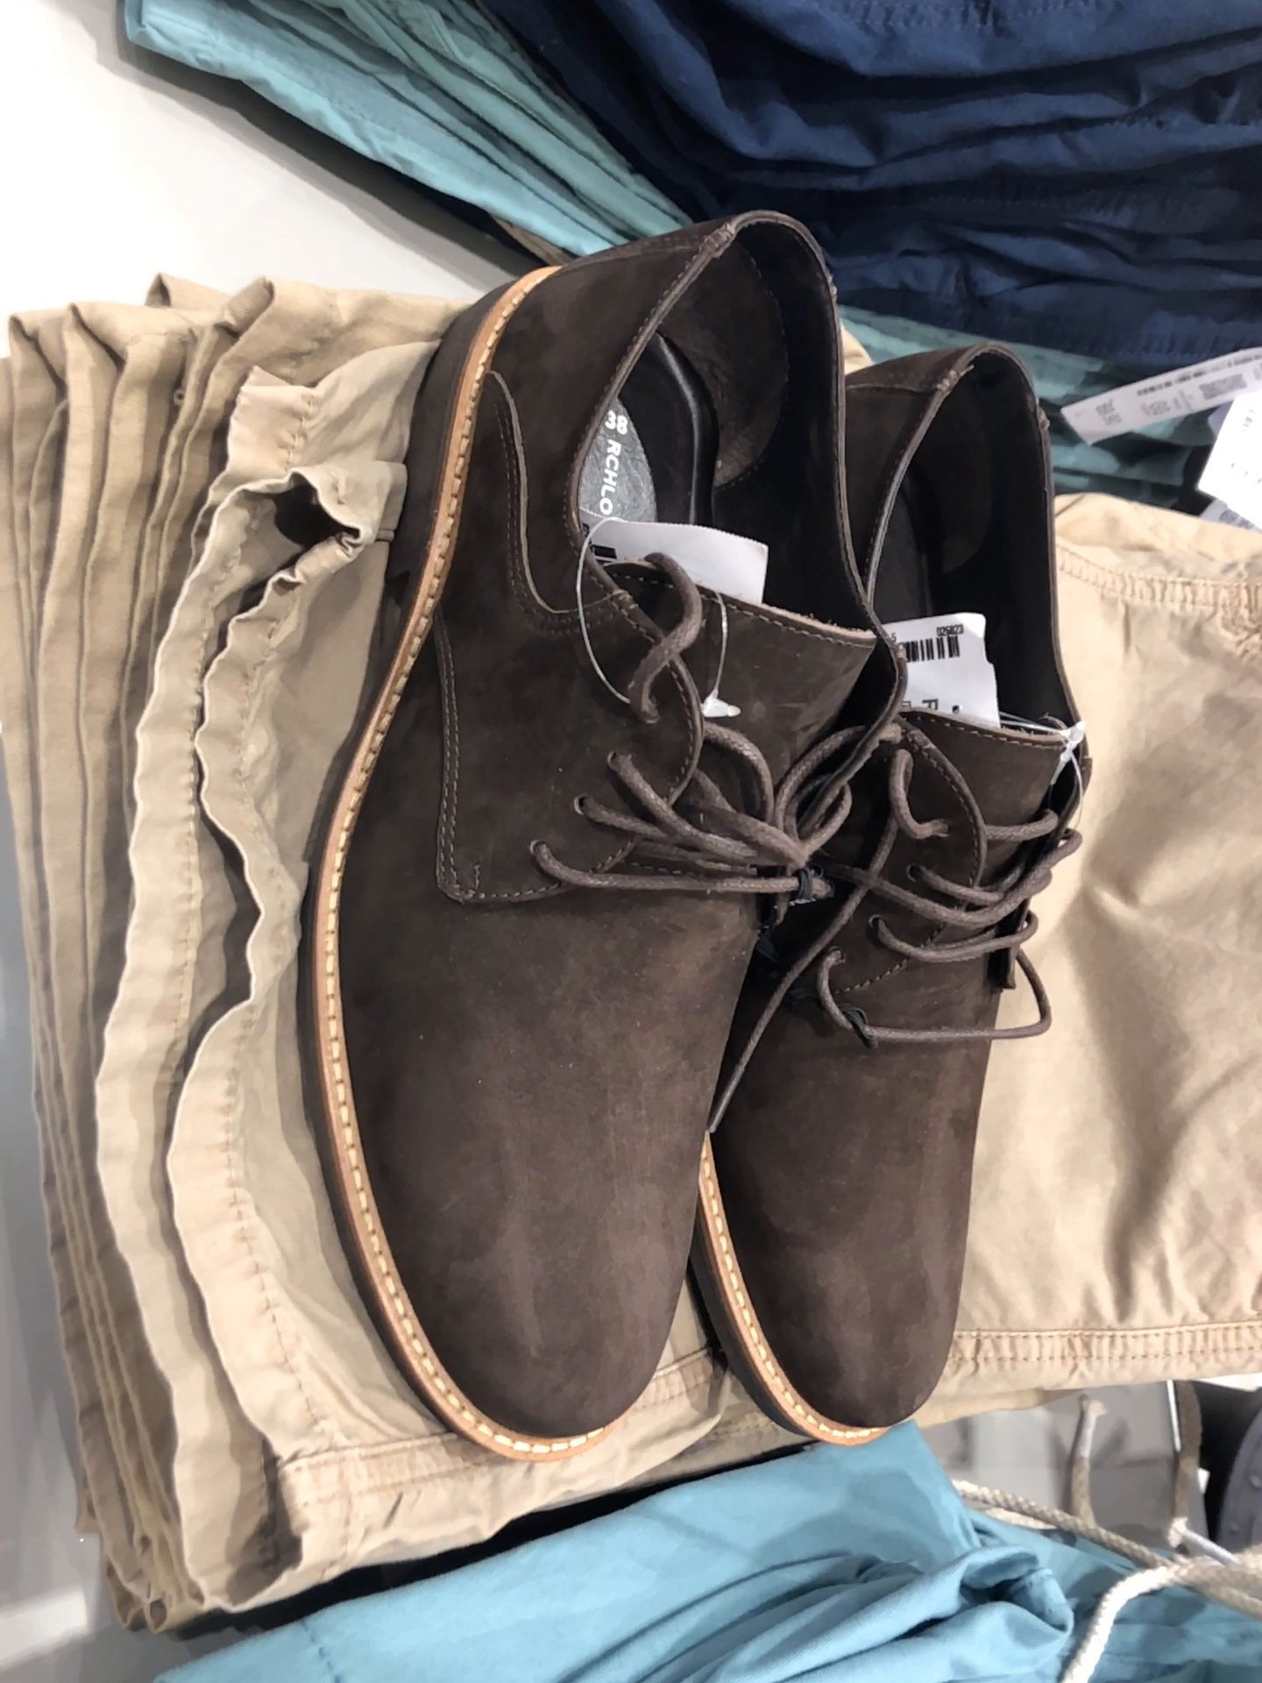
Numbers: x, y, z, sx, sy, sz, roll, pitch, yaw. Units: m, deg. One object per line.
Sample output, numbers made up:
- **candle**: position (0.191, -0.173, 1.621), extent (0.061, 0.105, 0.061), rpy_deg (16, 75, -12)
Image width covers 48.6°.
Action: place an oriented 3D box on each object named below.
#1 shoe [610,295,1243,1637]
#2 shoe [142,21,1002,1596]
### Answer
- **shoe**: position (0.066, 0.025, 0.344), extent (0.101, 0.109, 0.260), rpy_deg (3, 84, -31)
- **shoe**: position (-0.012, -0.003, 0.303), extent (0.111, 0.109, 0.260), rpy_deg (12, 82, -34)
